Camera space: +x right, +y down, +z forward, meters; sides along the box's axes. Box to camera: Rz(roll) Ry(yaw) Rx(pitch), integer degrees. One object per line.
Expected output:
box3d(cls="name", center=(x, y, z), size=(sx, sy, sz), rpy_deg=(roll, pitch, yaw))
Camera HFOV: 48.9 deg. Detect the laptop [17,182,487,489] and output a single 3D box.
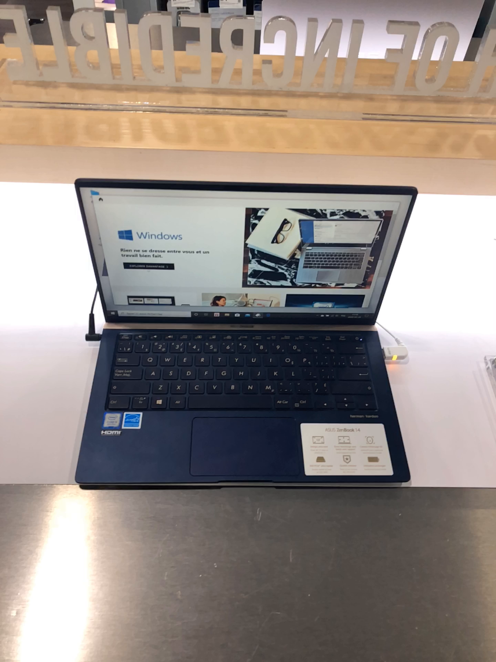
box3d(cls="laptop", center=(0.000, 0.007, 0.480), size=(0.301, 0.182, 0.191), rpy_deg=(0, 50, -4))
